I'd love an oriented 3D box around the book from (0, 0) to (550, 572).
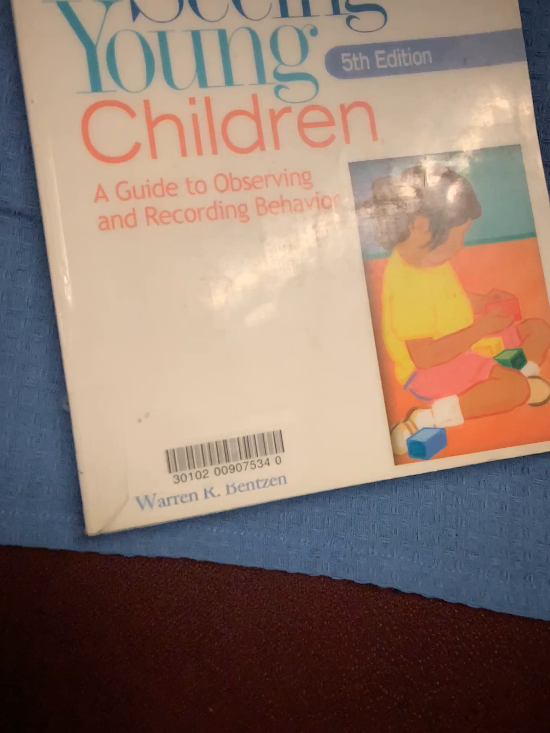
[{"bbox_3d":[0.008,-0.070,0.216,0.200,0.030,0.250,-9,92,-8],"label":"book"}]
